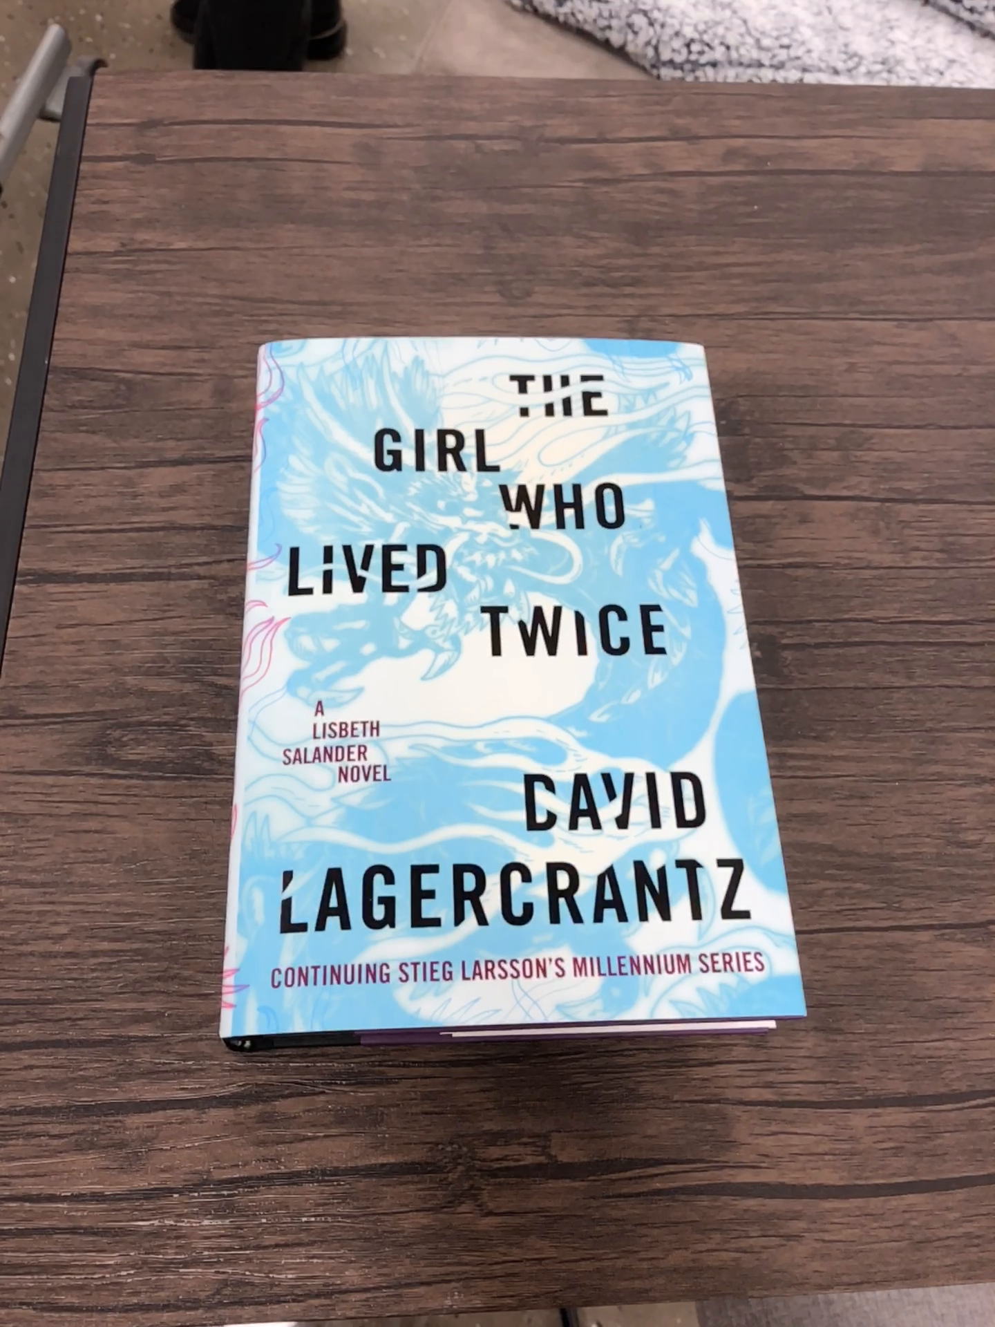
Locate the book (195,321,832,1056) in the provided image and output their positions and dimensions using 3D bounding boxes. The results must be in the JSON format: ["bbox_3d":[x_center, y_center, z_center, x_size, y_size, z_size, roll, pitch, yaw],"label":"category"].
[{"bbox_3d":[0.000,-0.003,0.362,0.170,0.040,0.240,-1,66,-4],"label":"book"}]
